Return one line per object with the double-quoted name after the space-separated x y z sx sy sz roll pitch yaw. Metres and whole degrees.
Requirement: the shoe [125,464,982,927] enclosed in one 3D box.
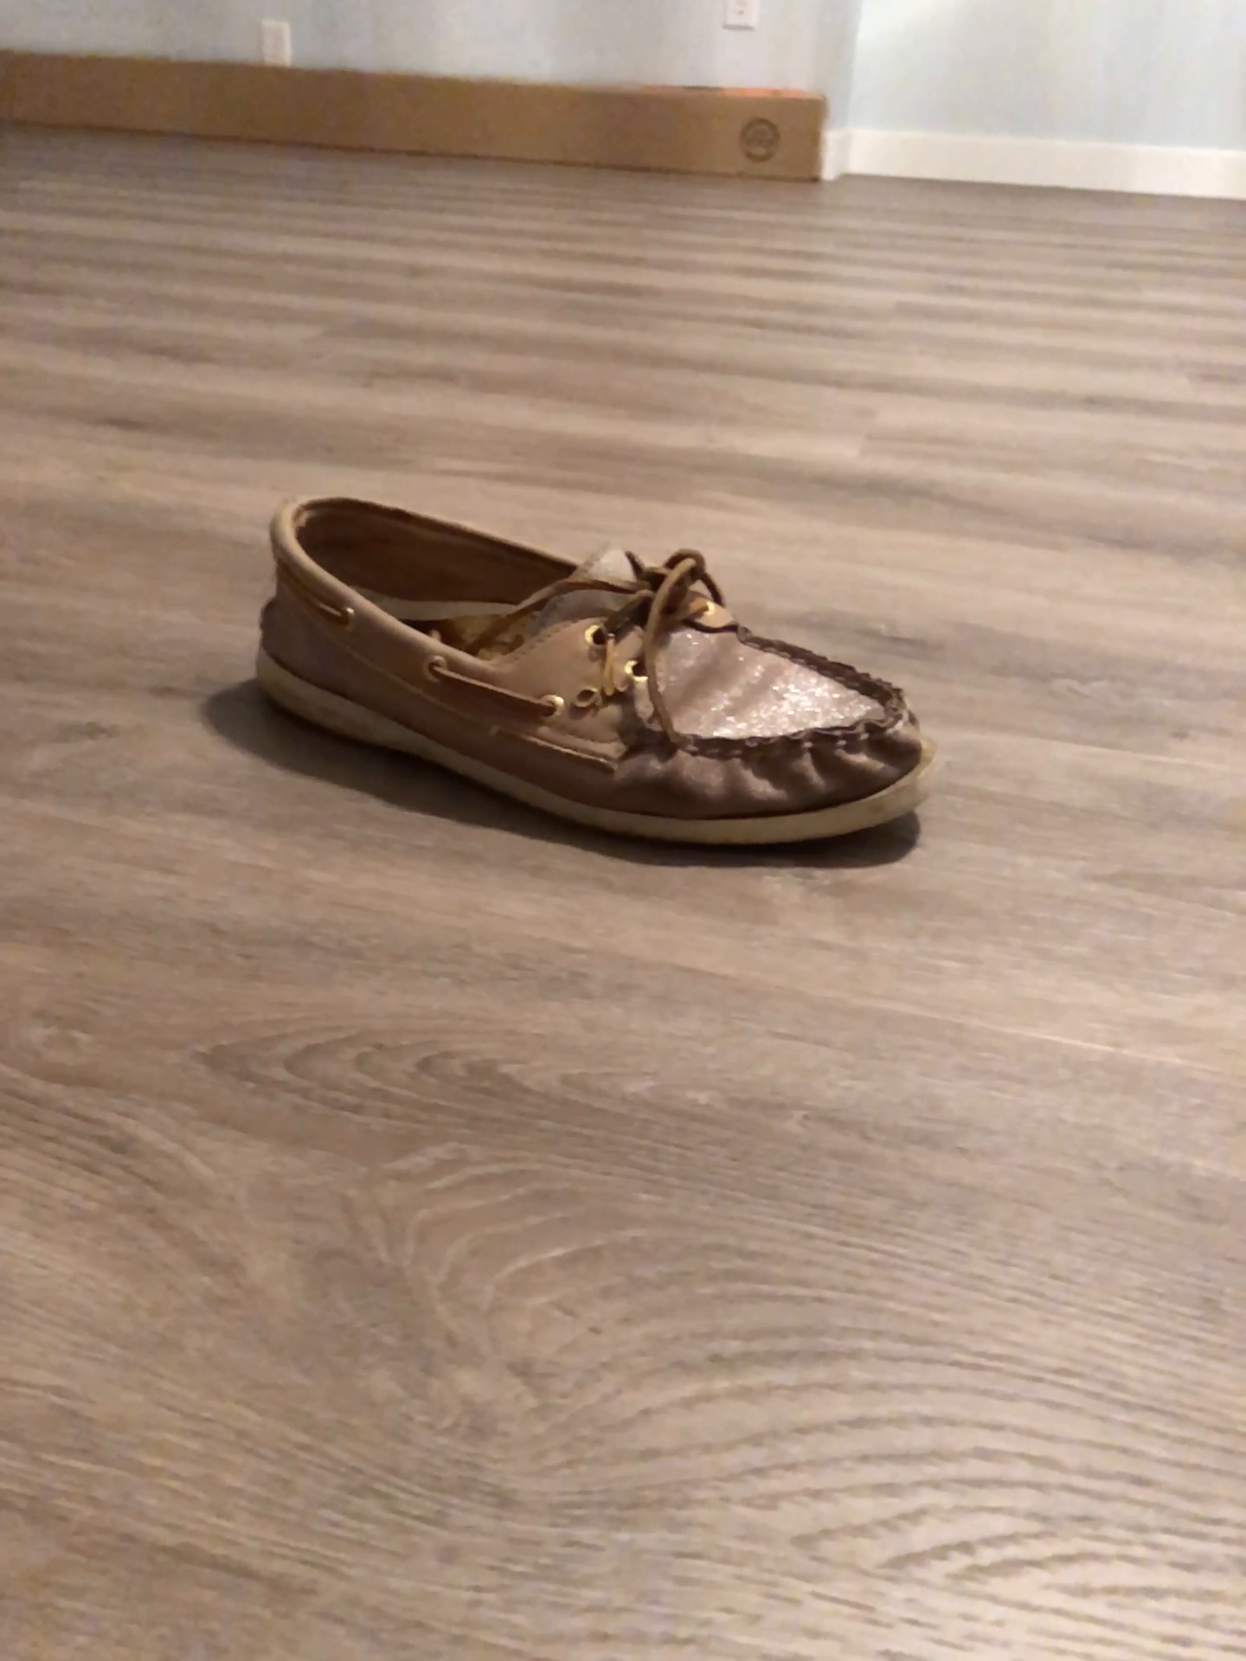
-0.025 -0.055 0.449 0.250 0.070 0.100 15 31 21 "shoe"
